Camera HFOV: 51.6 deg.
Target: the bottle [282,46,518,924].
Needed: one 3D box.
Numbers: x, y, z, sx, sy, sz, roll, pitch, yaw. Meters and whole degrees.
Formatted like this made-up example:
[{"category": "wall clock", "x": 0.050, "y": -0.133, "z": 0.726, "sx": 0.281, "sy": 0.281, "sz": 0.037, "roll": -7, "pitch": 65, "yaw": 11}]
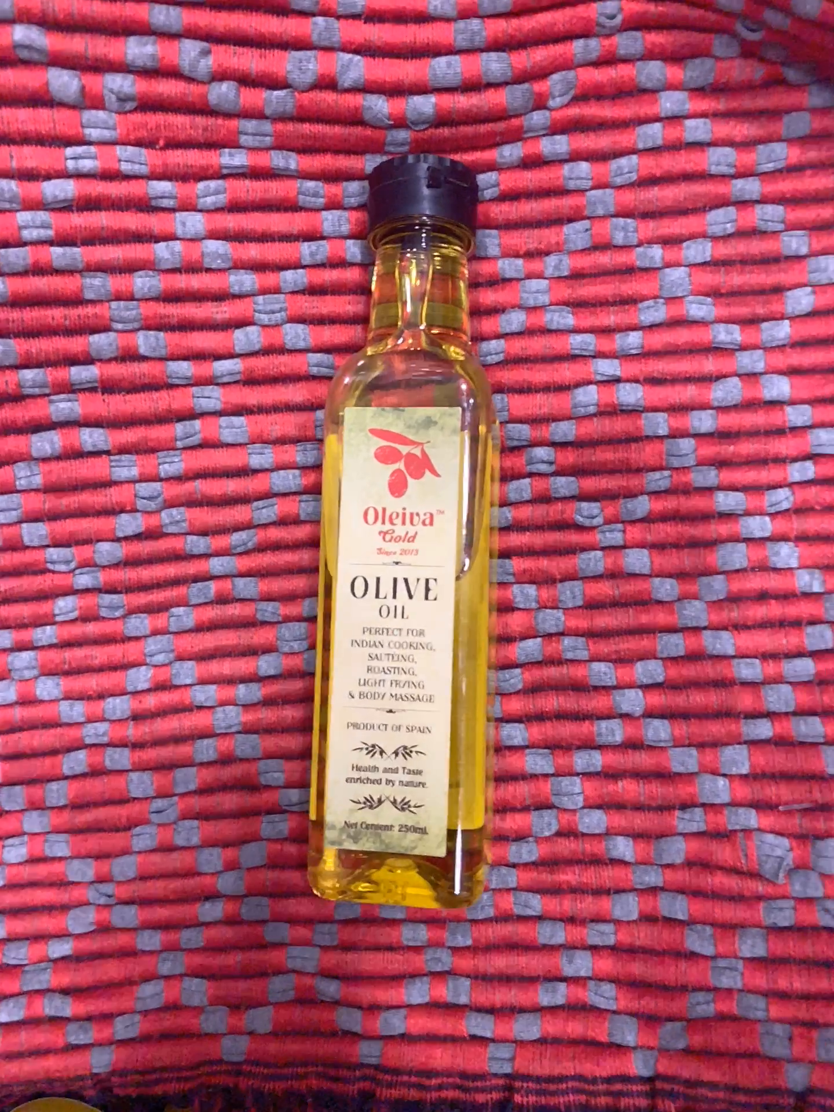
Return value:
[{"category": "bottle", "x": 0.000, "y": -0.020, "z": 0.232, "sx": 0.050, "sy": 0.050, "sz": 0.210, "roll": 0, "pitch": 84, "yaw": 9}]
